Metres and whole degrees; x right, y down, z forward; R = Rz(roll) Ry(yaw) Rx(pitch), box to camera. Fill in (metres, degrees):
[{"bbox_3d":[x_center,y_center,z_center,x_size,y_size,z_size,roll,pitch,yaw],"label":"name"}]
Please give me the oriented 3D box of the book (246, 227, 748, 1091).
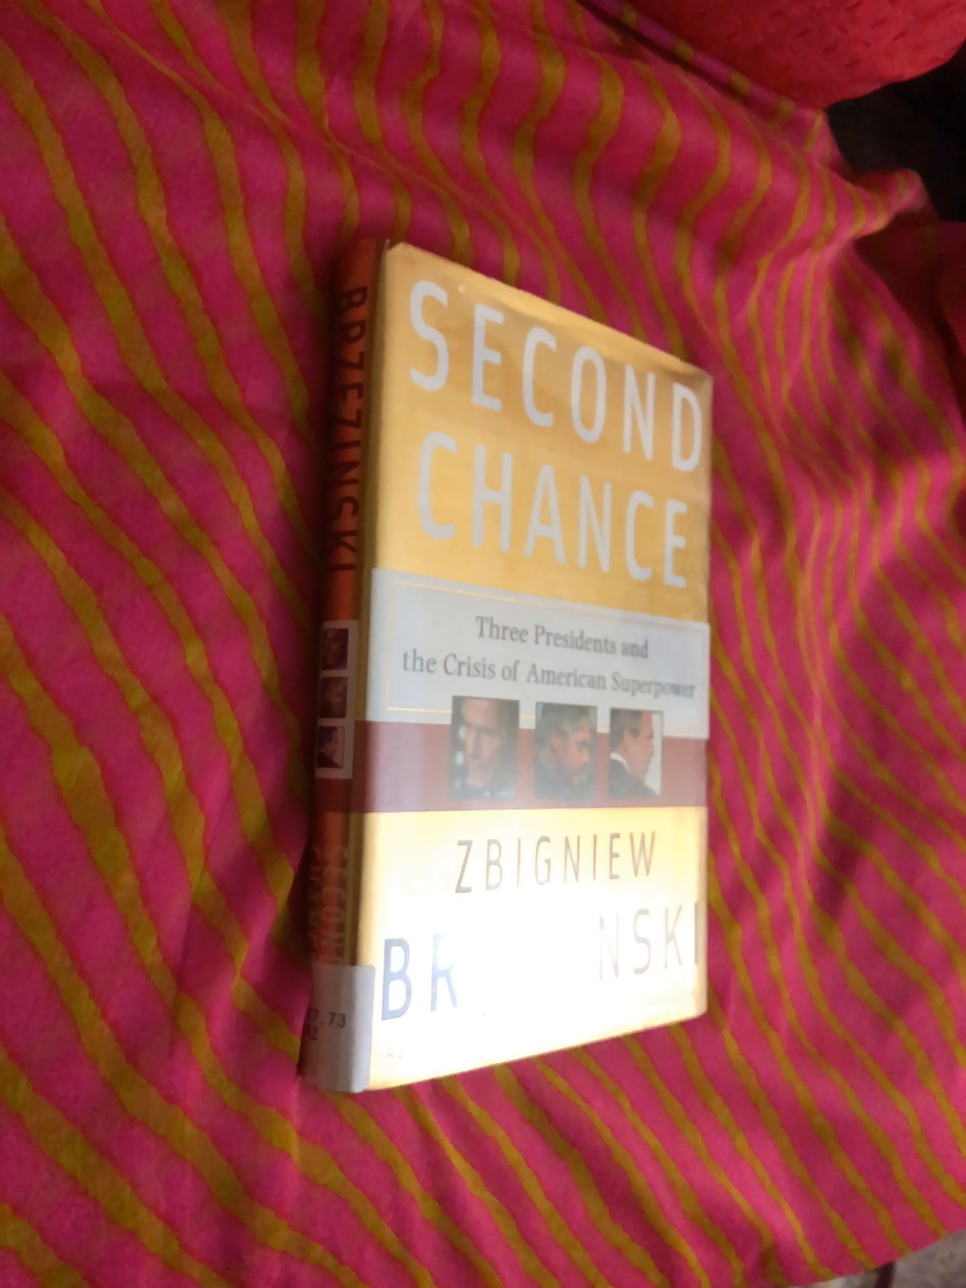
[{"bbox_3d":[0.012,0.007,0.306,0.141,0.037,0.200,6,84,-37],"label":"book"}]
